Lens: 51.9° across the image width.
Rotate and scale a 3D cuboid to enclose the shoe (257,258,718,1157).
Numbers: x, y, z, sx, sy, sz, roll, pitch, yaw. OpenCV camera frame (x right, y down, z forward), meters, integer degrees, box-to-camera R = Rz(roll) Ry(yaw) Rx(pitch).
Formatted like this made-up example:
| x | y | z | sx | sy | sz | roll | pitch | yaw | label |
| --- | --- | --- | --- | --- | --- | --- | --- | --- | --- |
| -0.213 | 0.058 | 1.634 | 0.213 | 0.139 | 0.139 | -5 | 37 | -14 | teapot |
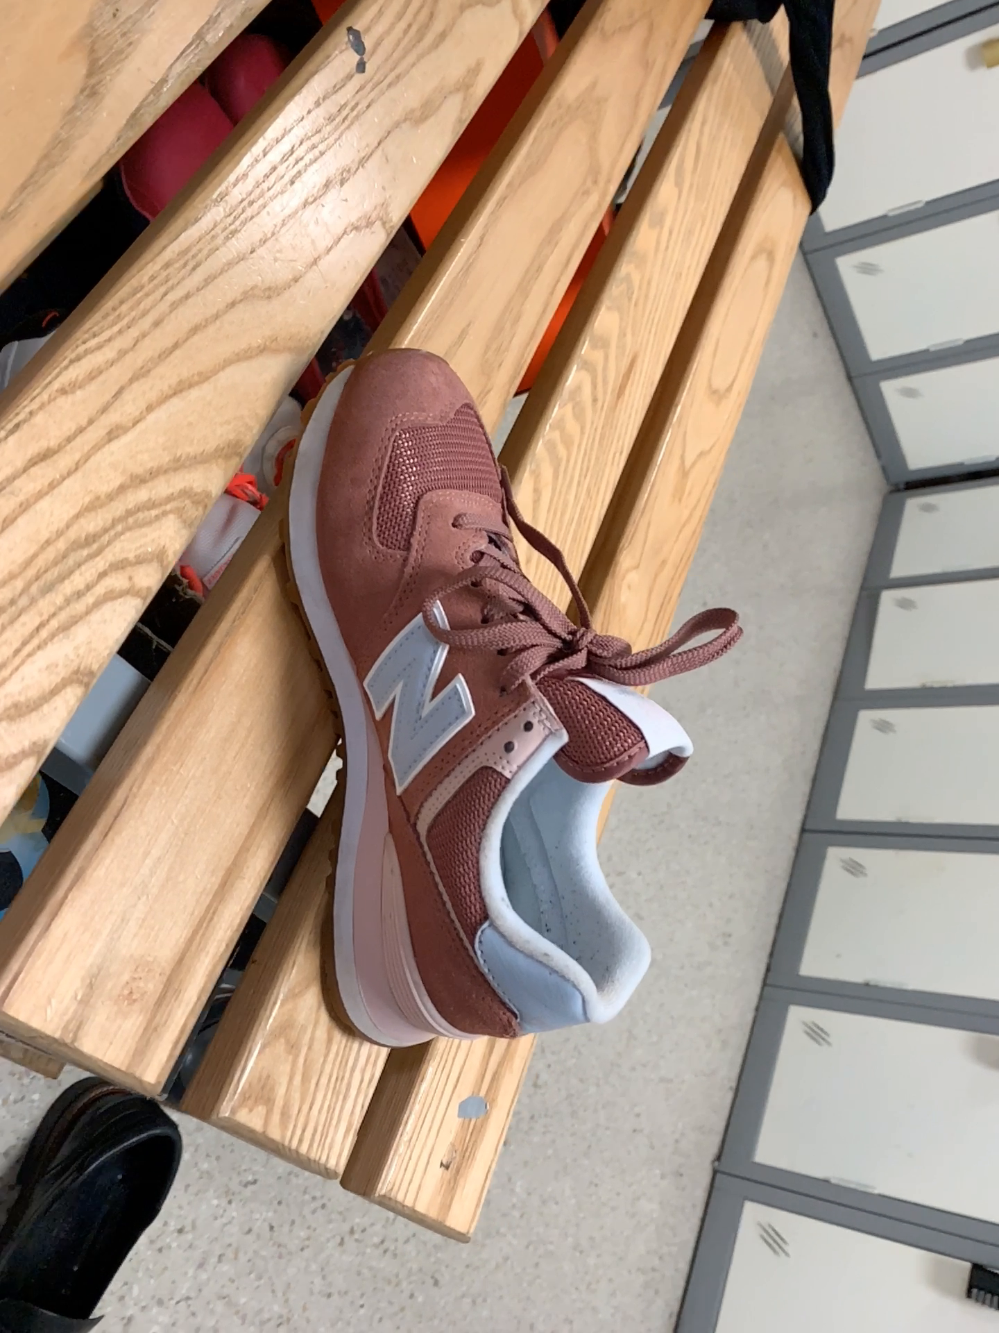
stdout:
| x | y | z | sx | sy | sz | roll | pitch | yaw | label |
| --- | --- | --- | --- | --- | --- | --- | --- | --- | --- |
| -0.002 | 0.012 | 0.371 | 0.110 | 0.105 | 0.259 | -3 | 90 | -52 | shoe |
